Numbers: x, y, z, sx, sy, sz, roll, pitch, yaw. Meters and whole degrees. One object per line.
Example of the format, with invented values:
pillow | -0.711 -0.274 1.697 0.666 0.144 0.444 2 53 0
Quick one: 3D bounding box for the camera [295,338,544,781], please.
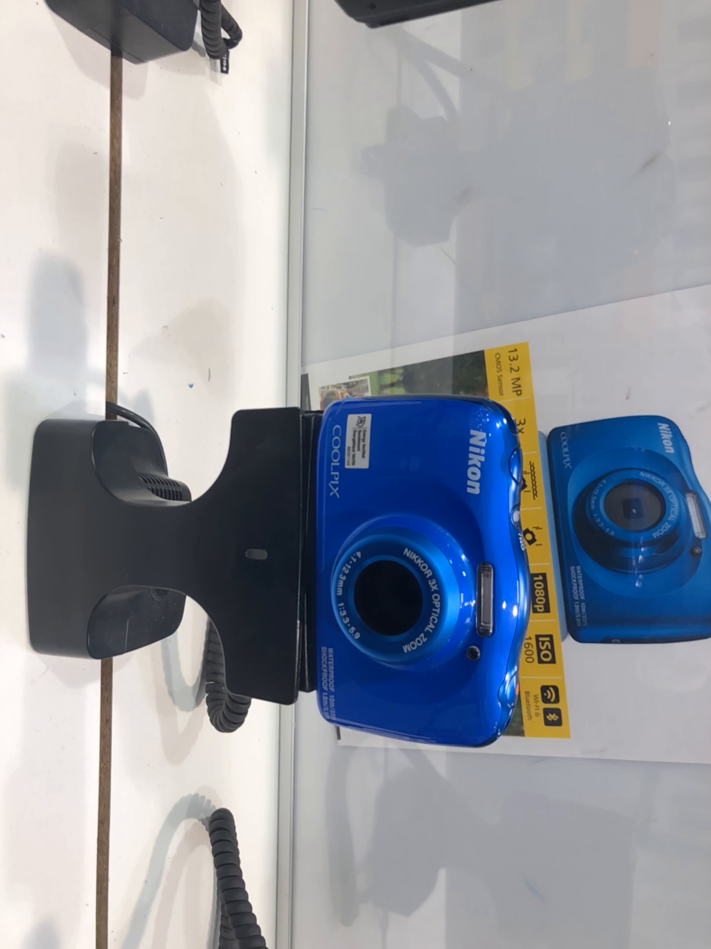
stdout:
camera | 0.023 0.024 0.268 0.050 0.070 0.130 -1 91 -64
